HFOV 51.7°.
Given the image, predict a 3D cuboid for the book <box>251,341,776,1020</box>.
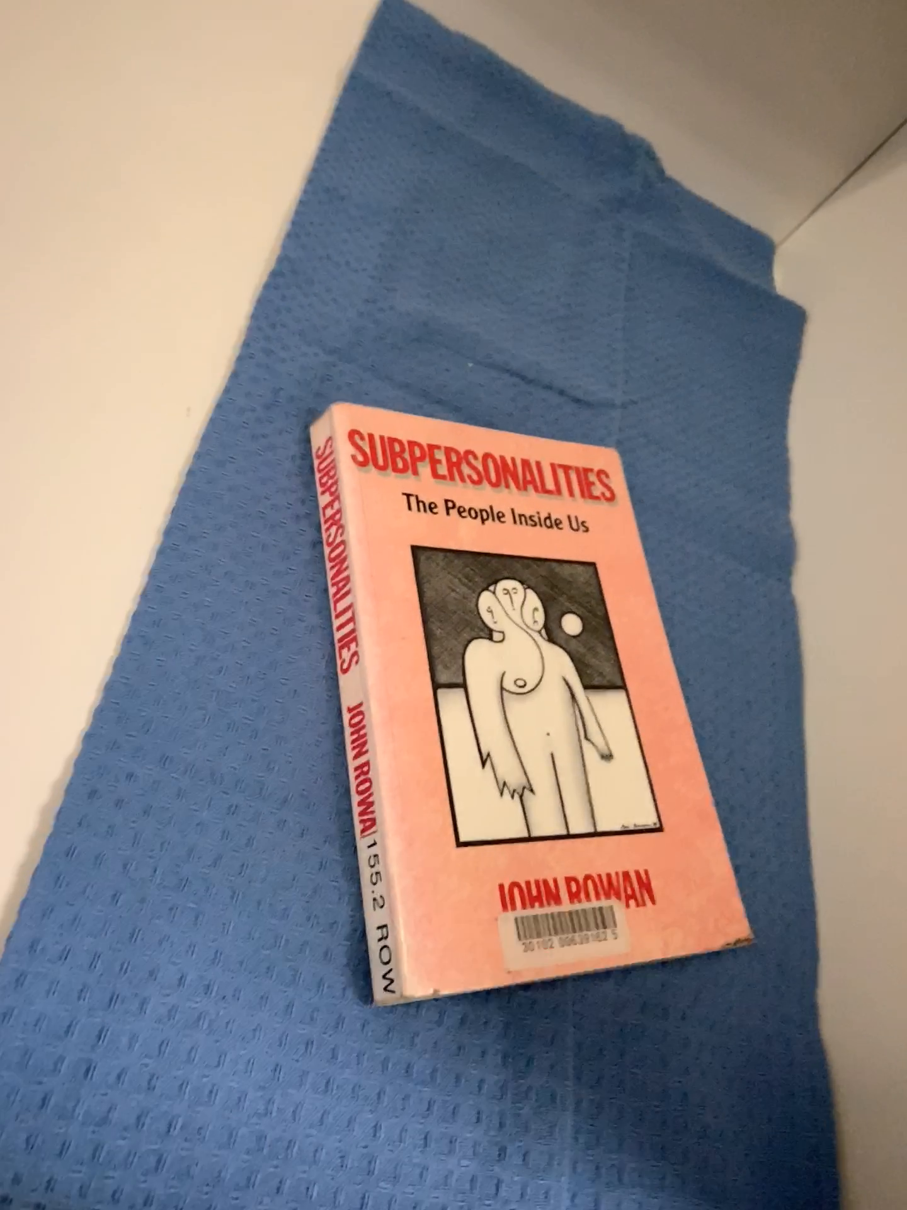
[{"bbox_3d":[0.017,0.018,0.357,0.160,0.040,0.231,3,63,-29],"label":"book"}]
